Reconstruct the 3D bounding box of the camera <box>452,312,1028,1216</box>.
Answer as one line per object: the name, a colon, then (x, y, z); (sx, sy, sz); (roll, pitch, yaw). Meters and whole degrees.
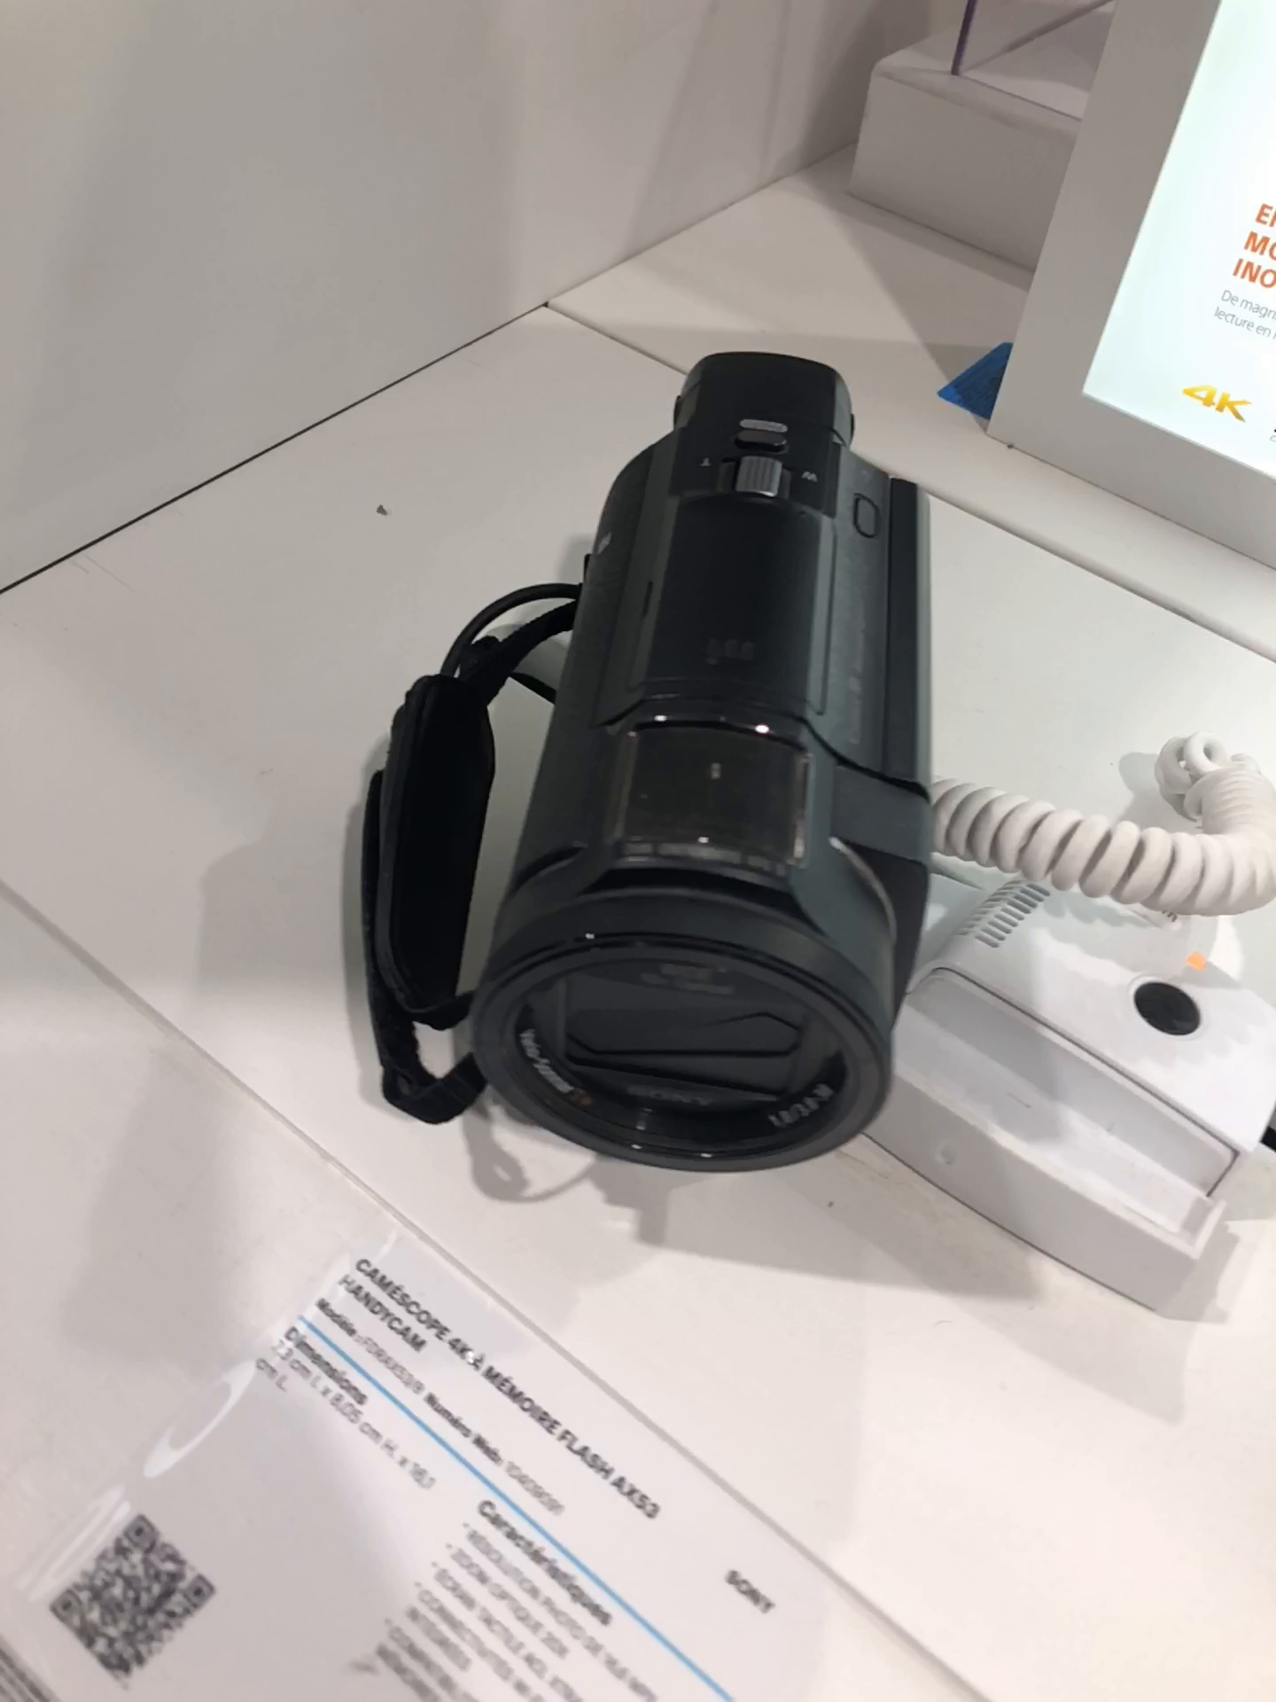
camera: (0.017, -0.024, 0.254); (0.073, 0.070, 0.149); (8, 47, 0)
